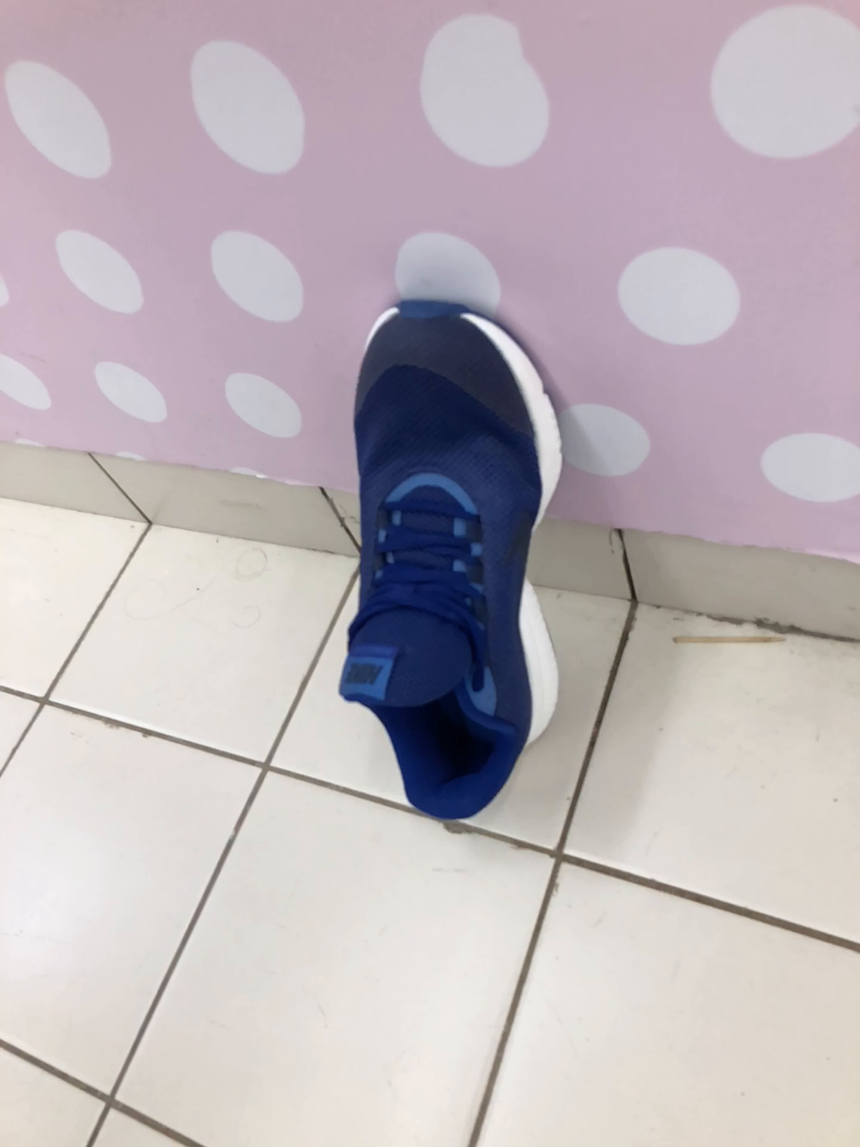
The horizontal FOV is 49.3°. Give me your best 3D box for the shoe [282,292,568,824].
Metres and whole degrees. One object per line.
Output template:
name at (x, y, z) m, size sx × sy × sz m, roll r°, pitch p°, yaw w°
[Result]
shoe at (0.004, -0.017, 0.477) m, size 0.100 × 0.239 × 0.110 m, roll 6°, pitch 17°, yaw 23°
